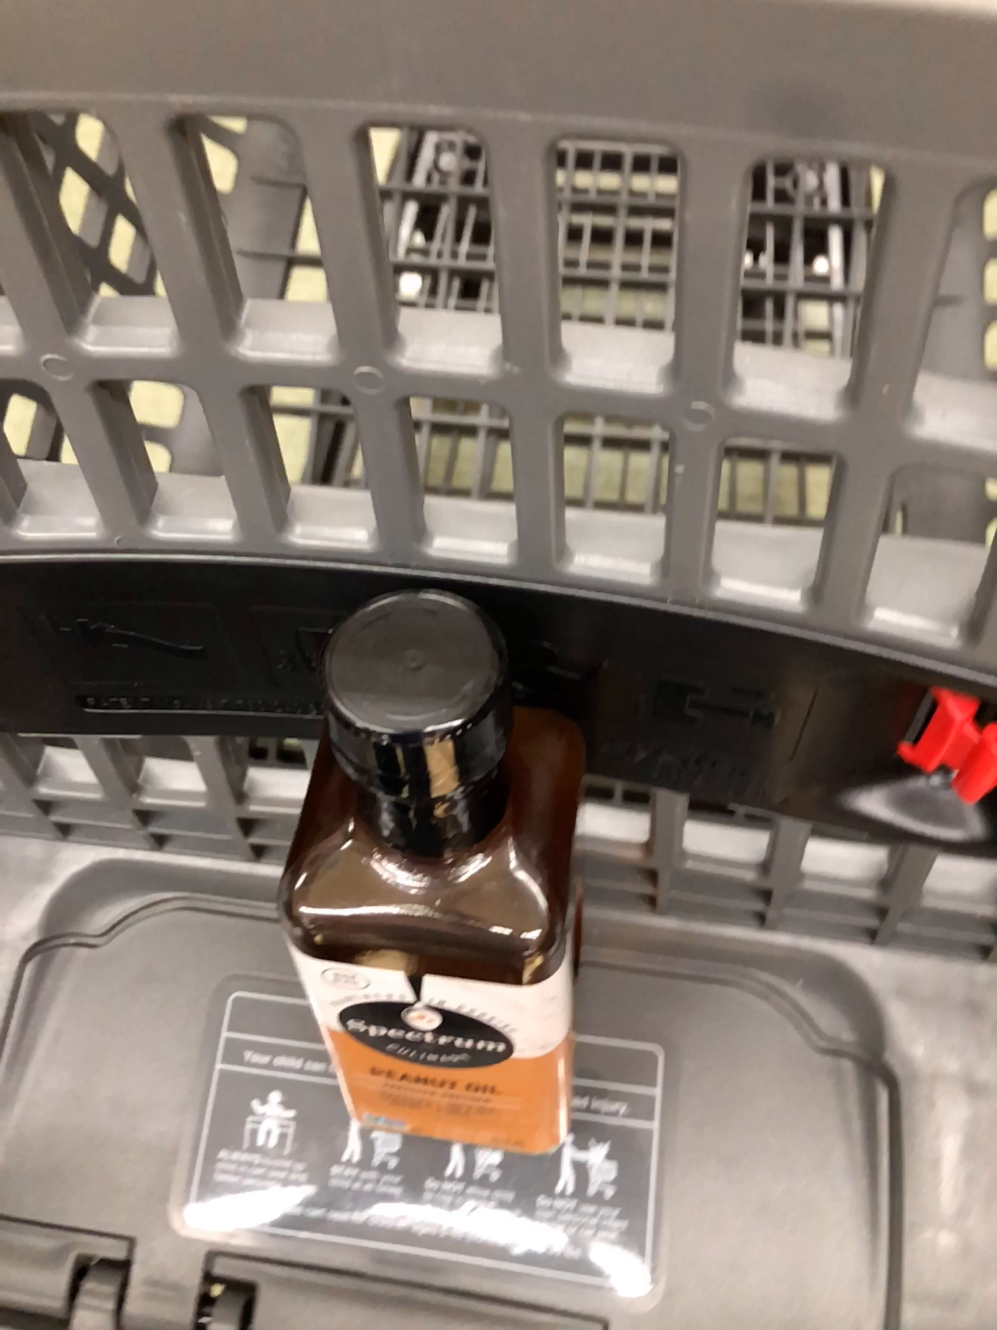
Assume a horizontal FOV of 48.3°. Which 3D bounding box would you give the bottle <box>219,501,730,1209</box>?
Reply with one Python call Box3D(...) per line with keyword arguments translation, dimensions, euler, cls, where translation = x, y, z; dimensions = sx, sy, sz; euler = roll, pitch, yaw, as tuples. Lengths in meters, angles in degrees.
Box3D(translation=(0.003, 0.059, 0.251), dimensions=(0.070, 0.190, 0.070), euler=(-1, 53, 1), cls="bottle")
